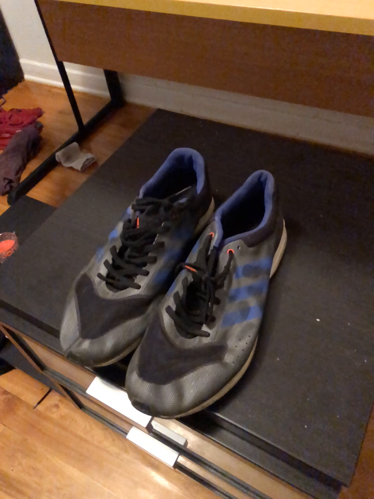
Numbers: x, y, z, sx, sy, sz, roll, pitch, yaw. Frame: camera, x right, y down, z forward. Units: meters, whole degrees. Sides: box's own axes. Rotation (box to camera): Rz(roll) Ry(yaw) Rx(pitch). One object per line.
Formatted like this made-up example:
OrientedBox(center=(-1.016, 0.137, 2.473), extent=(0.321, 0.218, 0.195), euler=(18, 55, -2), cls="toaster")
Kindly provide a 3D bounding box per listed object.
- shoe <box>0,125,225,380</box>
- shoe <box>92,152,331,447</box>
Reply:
OrientedBox(center=(-0.068, -0.016, 0.446), extent=(0.110, 0.079, 0.271), euler=(20, 55, 22), cls="shoe")
OrientedBox(center=(0.044, 0.026, 0.431), extent=(0.110, 0.069, 0.302), euler=(20, 55, 22), cls="shoe")
